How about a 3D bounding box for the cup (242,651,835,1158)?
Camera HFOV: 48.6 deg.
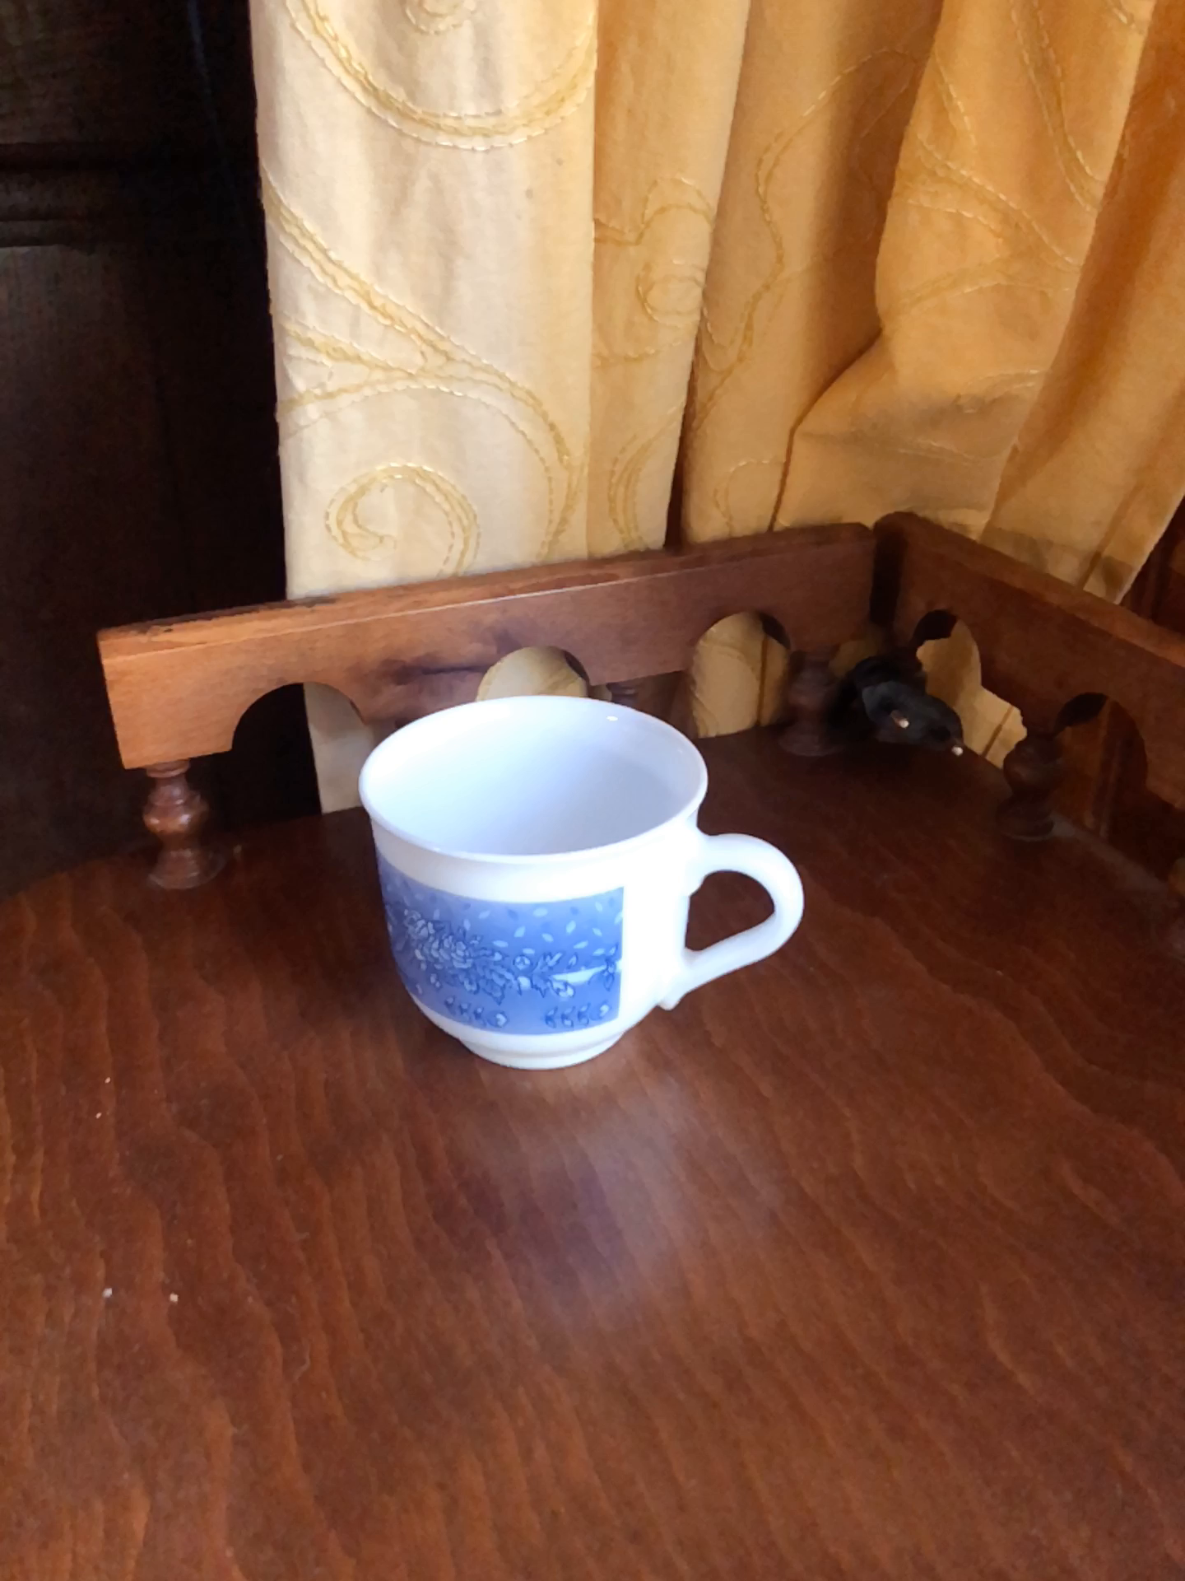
[{"bbox_3d":[-0.007,0.018,0.285,0.100,0.060,0.081,9,30,17],"label":"cup"}]
